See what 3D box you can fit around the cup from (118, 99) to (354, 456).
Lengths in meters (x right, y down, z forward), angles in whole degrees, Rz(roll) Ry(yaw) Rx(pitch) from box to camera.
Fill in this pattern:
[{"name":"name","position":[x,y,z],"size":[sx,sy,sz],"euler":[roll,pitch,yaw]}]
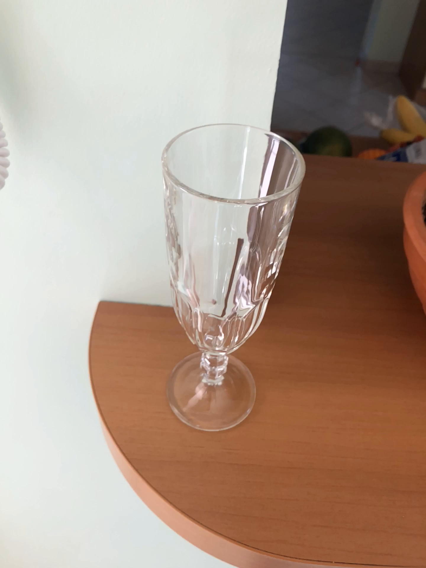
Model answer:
[{"name":"cup","position":[0.006,0.008,0.244],"size":[0.070,0.169,0.060],"euler":[27,50,21]}]
